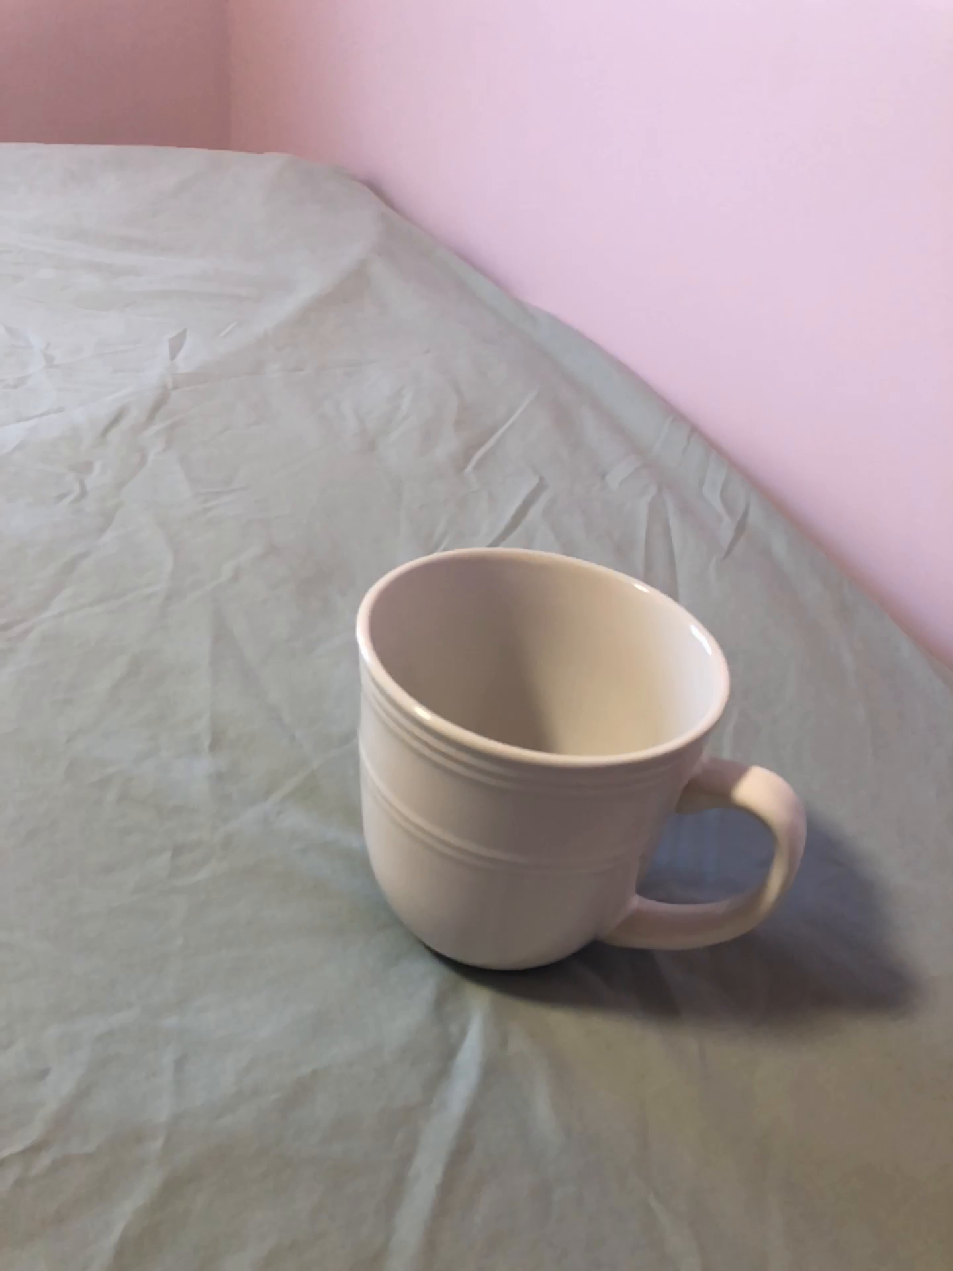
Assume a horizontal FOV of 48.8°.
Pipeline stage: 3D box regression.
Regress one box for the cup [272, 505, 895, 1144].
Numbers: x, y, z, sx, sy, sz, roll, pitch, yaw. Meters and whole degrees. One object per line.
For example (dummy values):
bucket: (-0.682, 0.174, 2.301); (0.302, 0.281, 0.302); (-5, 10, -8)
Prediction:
cup: (0.027, 0.044, 0.310); (0.140, 0.099, 0.100); (22, 35, 22)
